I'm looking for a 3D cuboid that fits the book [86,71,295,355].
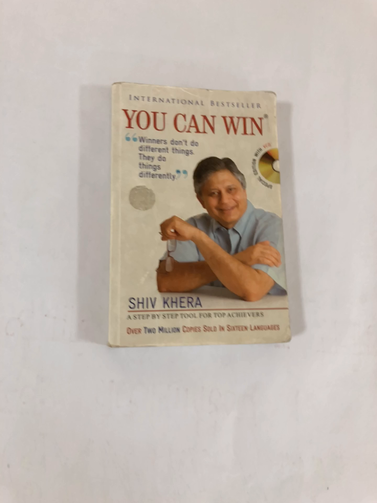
[{"bbox_3d":[-0.002,-0.030,0.335,0.150,0.040,0.210,0,79,-11],"label":"book"}]
